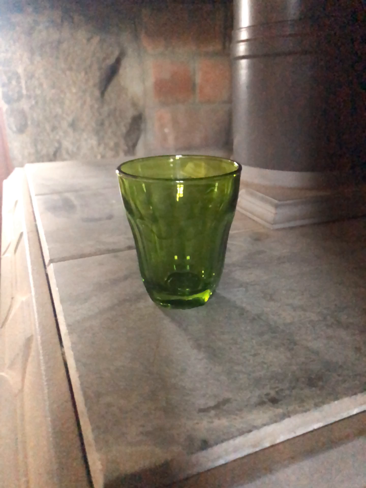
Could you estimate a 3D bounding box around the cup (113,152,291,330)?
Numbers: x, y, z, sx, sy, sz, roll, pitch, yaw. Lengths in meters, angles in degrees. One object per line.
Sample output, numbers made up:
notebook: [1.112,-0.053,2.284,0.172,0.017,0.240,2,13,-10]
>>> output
cup: [0.008,-0.010,0.258,0.080,0.080,0.080,-1,21,0]
